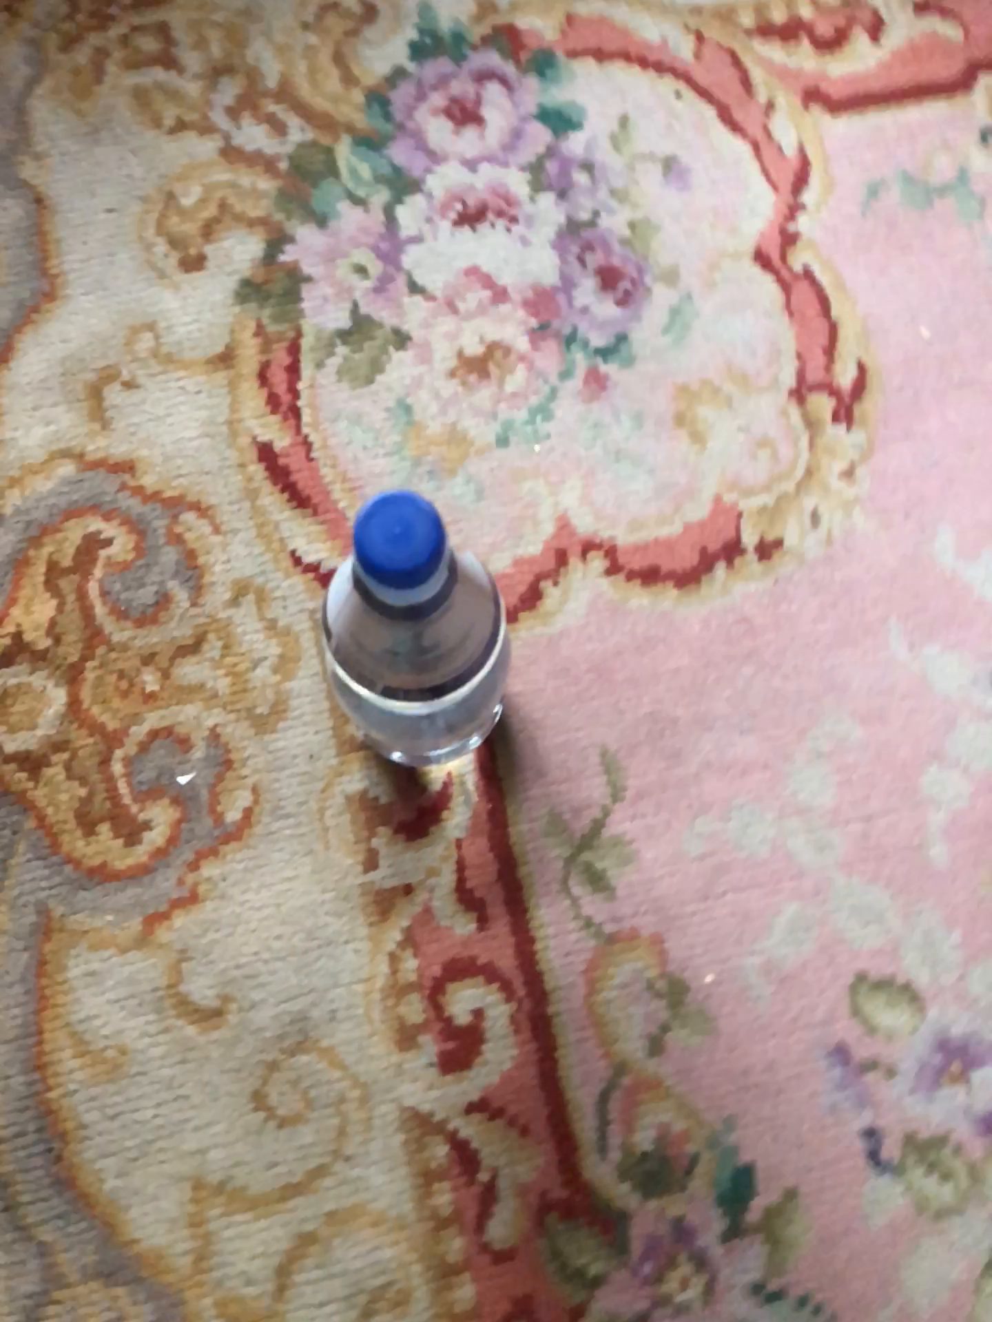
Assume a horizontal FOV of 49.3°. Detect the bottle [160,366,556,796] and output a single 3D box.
[{"bbox_3d":[-0.050,-0.011,0.523,0.110,0.310,0.100,0,78,-2],"label":"bottle"}]
